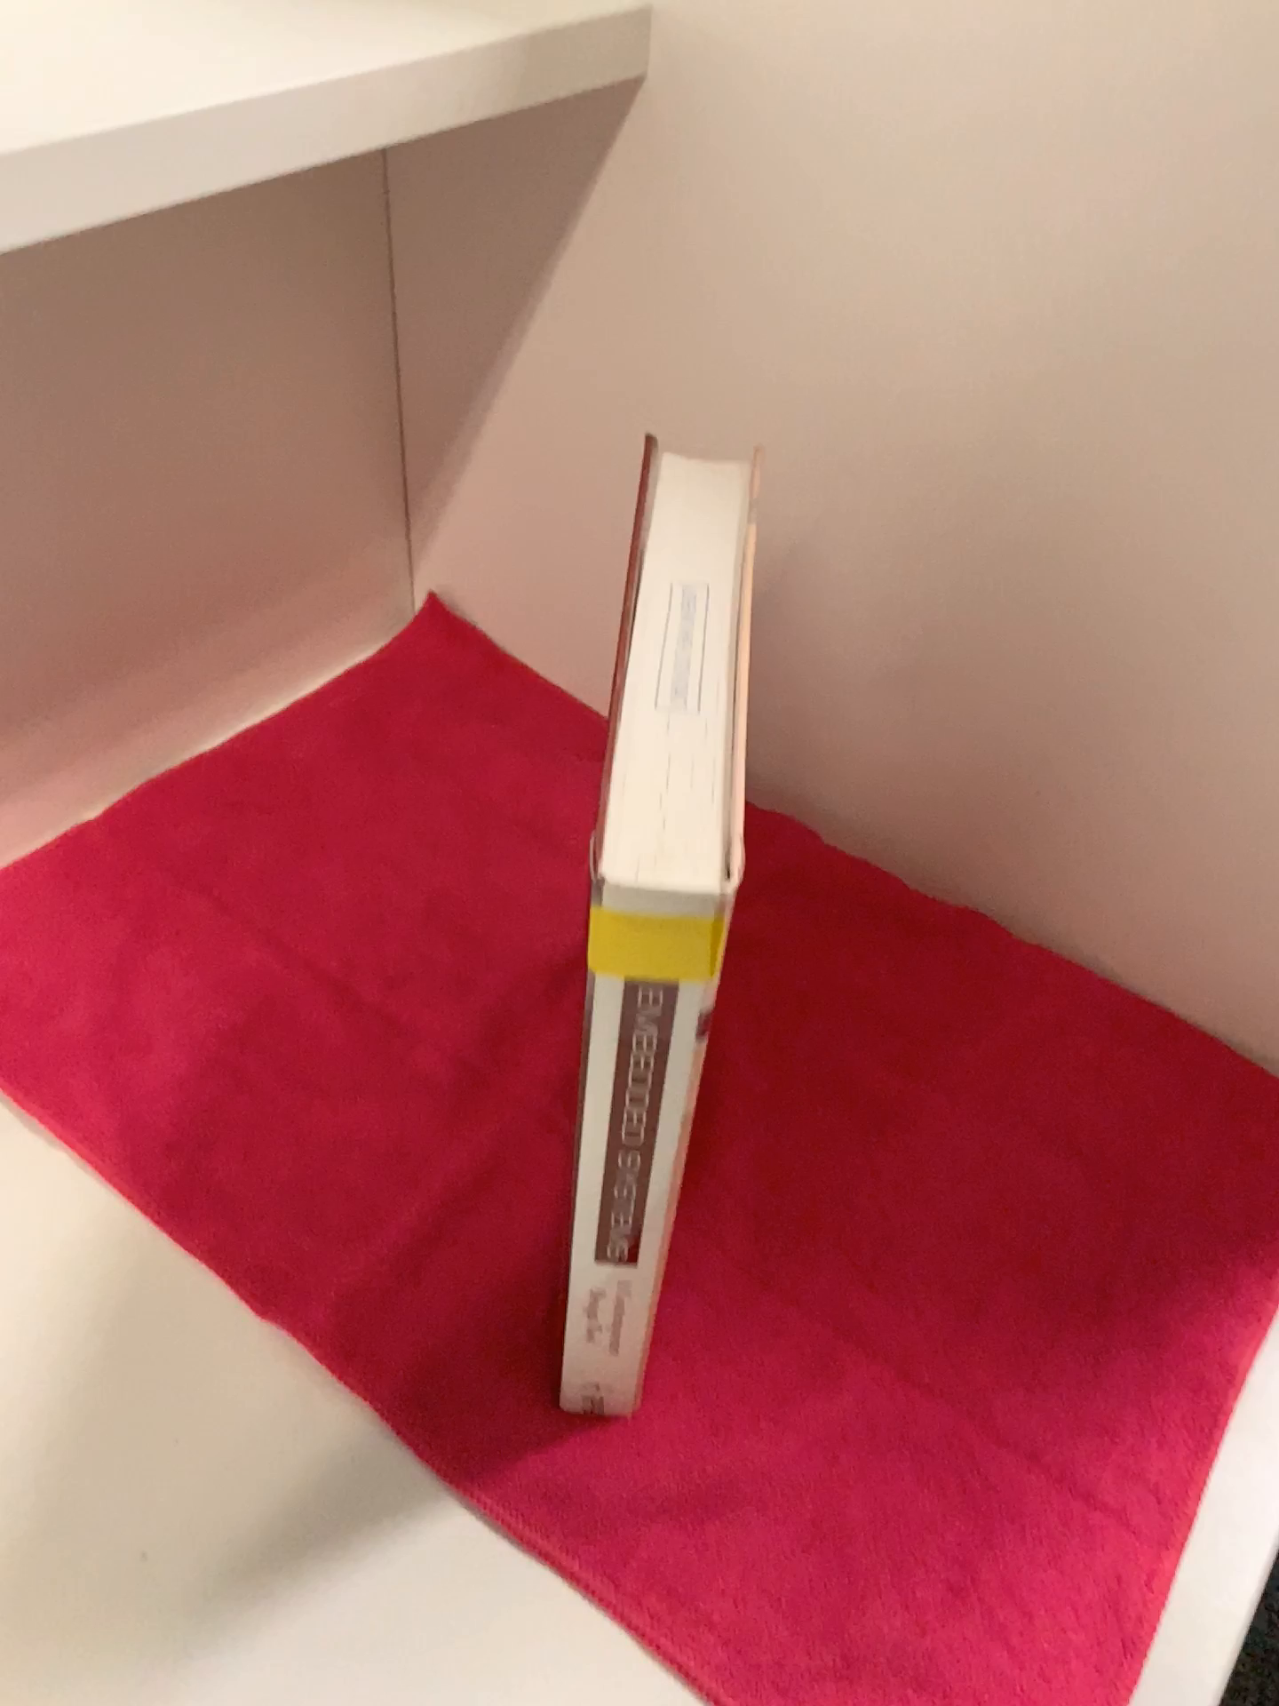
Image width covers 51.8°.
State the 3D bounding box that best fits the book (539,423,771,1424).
[{"bbox_3d":[0.004,0.027,0.443,0.044,0.258,0.213,6,43,0],"label":"book"}]
